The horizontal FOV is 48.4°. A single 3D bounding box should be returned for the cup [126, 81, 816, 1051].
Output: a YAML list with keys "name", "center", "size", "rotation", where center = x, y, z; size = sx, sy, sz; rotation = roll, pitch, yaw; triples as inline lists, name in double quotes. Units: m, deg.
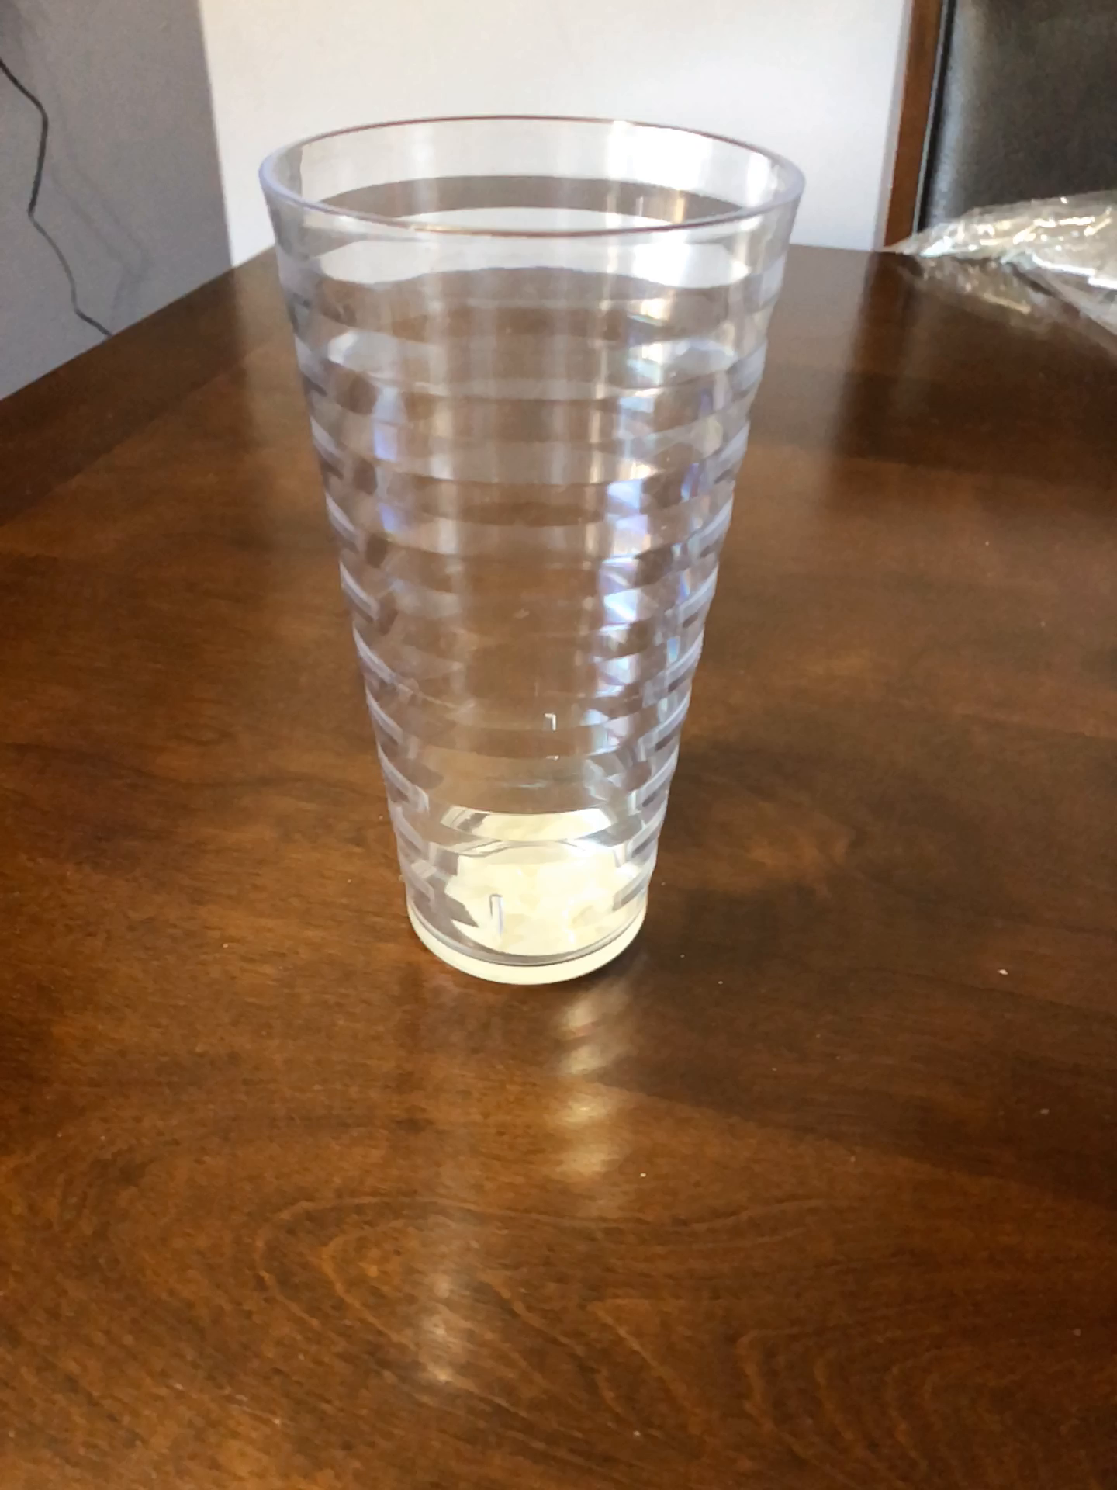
- name: "cup"
  center: [-0.009, -0.040, 0.281]
  size: [0.100, 0.179, 0.100]
  rotation: [1, 36, -1]
